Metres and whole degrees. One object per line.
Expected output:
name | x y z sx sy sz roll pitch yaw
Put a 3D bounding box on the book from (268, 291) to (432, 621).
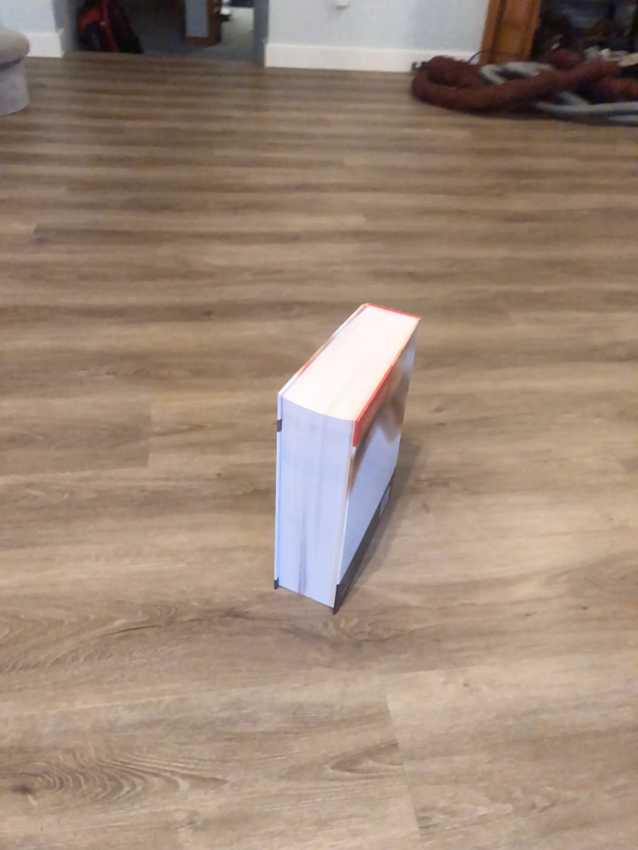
book | 0.036 0.032 0.822 0.087 0.290 0.241 17 38 18
